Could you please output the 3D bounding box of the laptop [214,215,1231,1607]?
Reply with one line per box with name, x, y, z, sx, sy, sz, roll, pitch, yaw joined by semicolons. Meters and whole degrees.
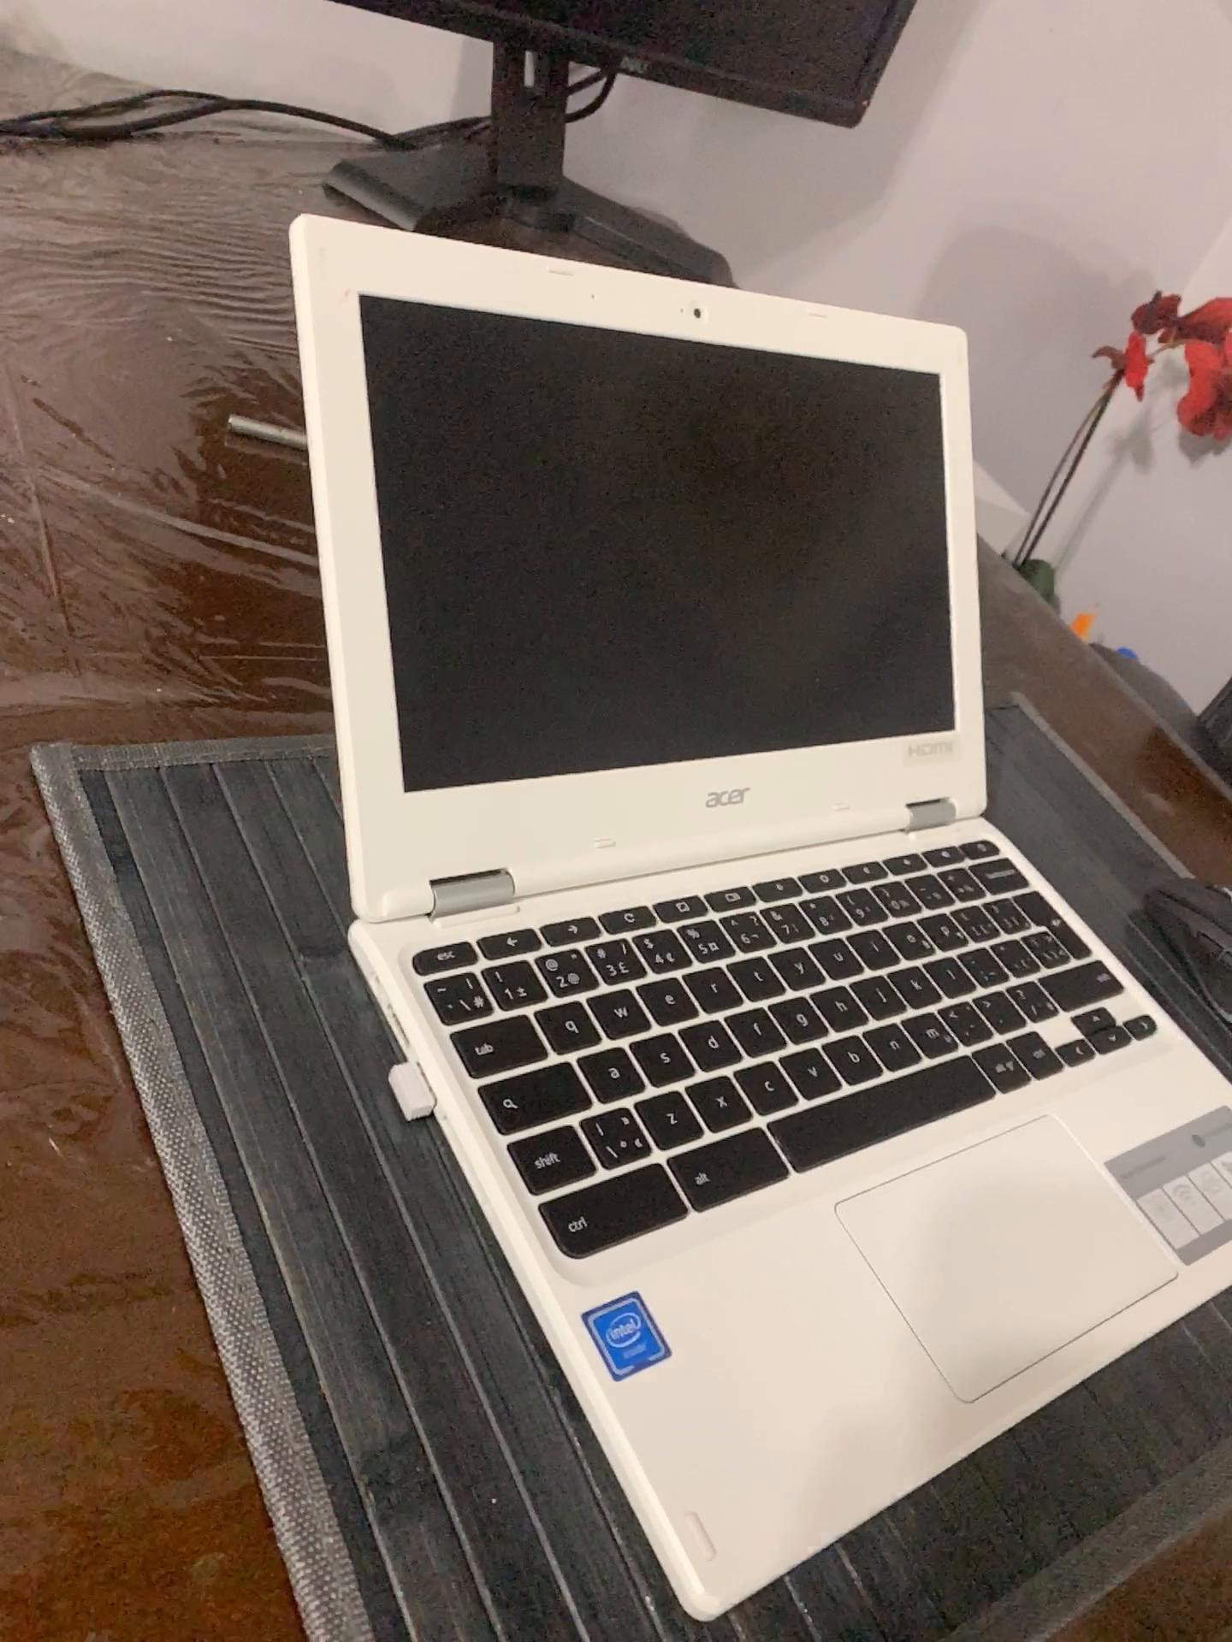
laptop;0.080;-0.017;0.392;0.285;0.142;0.328;-8;50;-36
